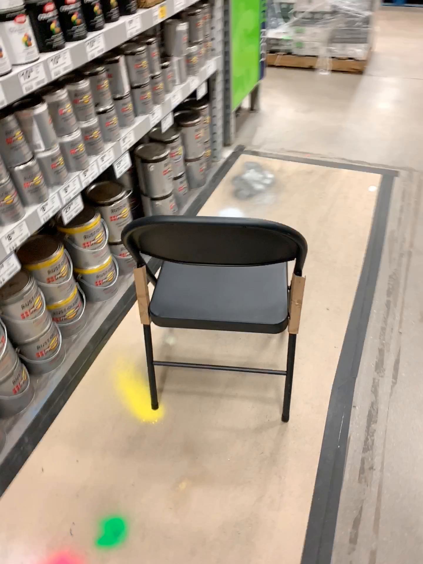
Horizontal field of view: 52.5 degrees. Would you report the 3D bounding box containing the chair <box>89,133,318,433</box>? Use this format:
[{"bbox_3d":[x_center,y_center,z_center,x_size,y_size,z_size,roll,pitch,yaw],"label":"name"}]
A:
[{"bbox_3d":[0.025,0.017,1.252,0.451,0.713,0.476,4,43,8],"label":"chair"}]
